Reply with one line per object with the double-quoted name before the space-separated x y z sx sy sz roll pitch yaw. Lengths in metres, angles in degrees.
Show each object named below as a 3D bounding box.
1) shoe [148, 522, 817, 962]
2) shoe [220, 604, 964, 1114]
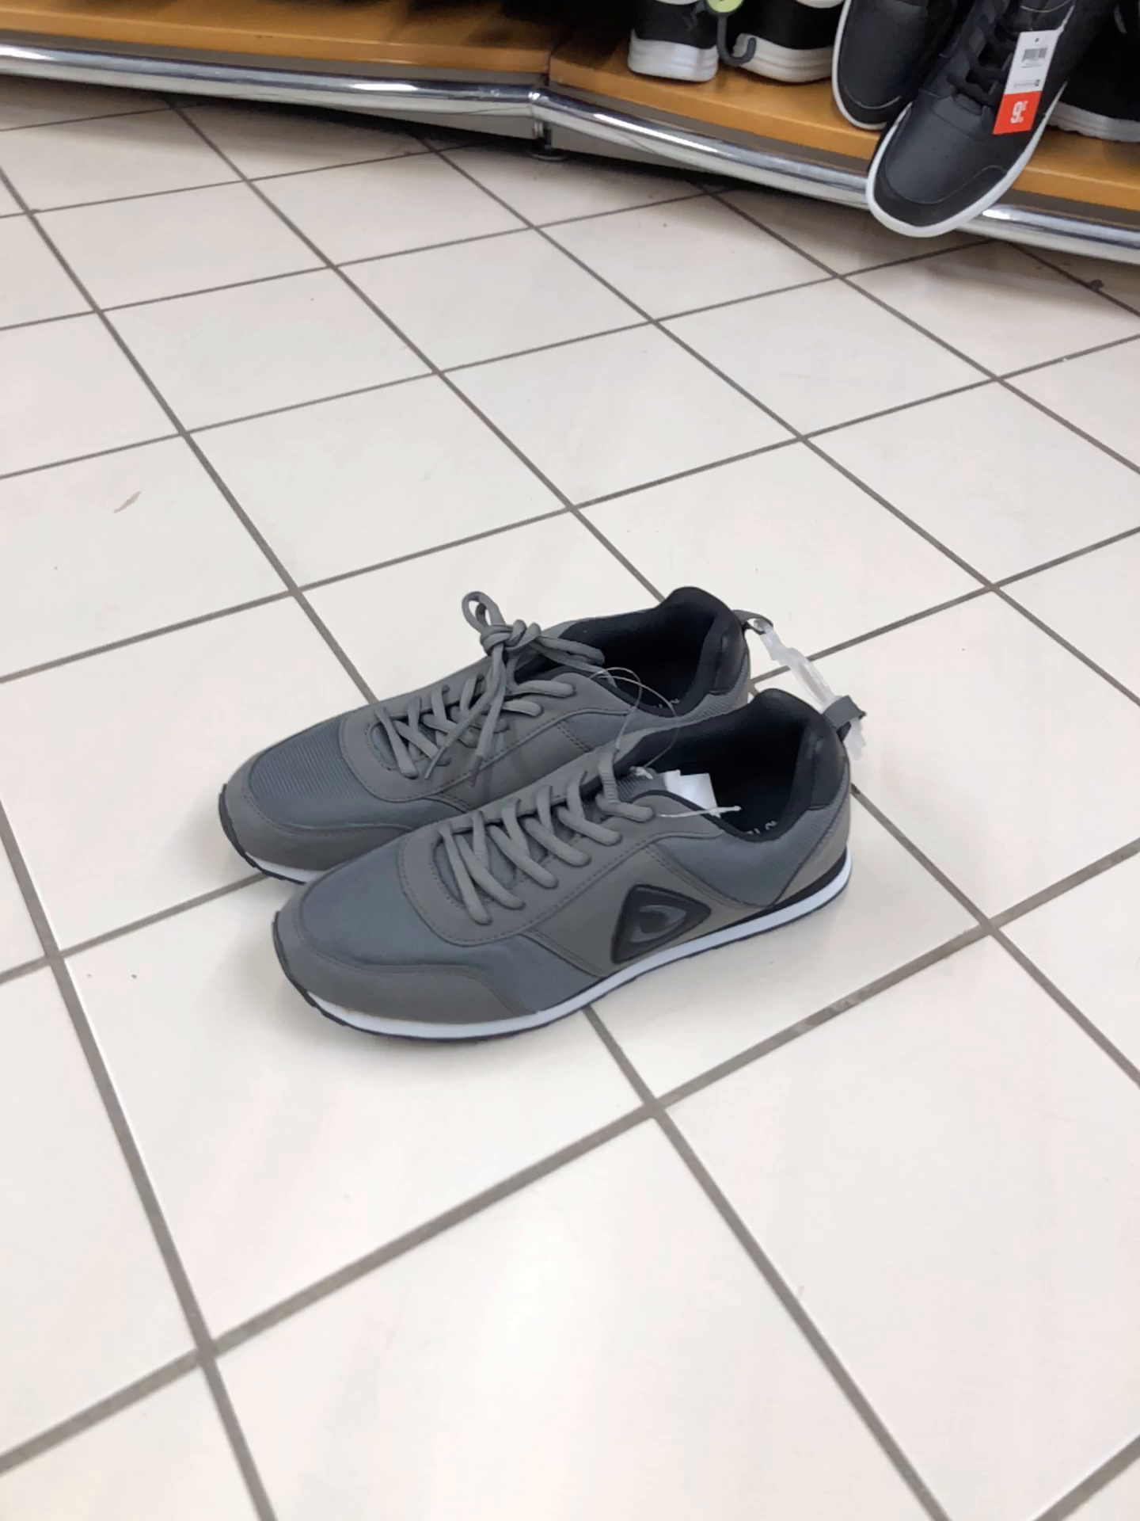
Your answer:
"shoe" -0.038 -0.017 0.610 0.291 0.099 0.100 -17 49 -20
"shoe" 0.012 0.034 0.546 0.291 0.099 0.100 -17 49 -20
